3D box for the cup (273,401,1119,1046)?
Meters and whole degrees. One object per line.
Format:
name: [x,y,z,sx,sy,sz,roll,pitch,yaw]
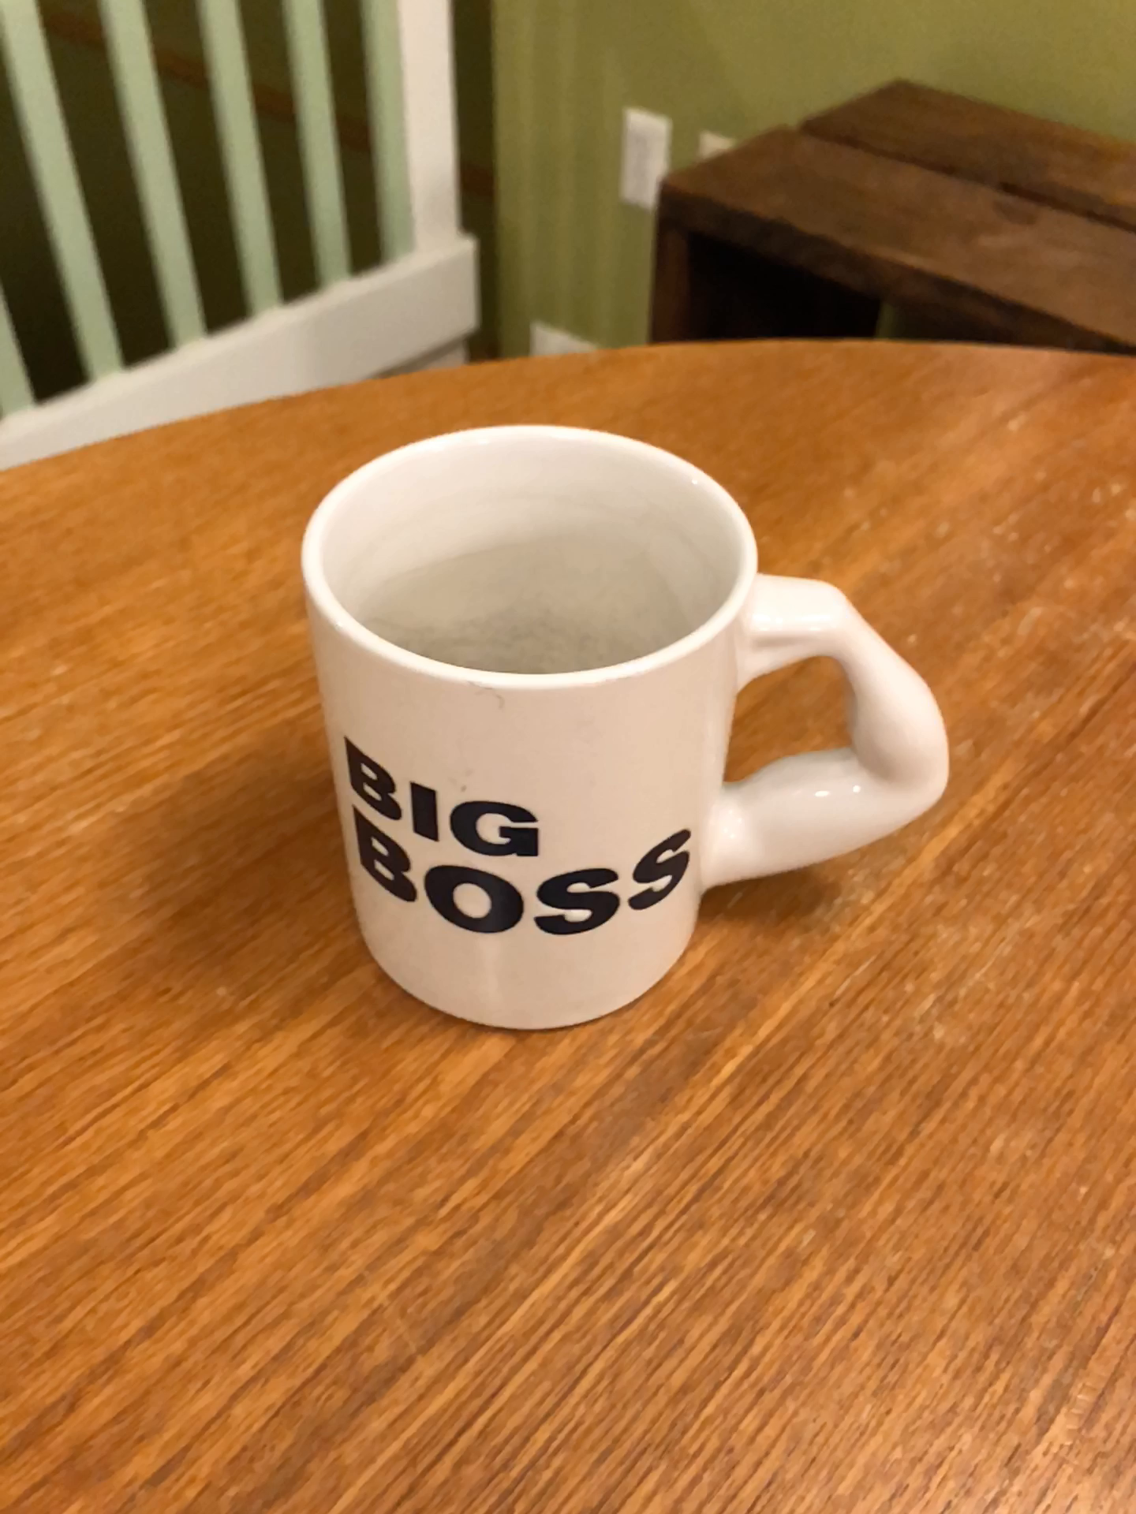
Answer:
cup: [0.018,-0.008,0.271,0.138,0.099,0.088,-2,44,-4]
